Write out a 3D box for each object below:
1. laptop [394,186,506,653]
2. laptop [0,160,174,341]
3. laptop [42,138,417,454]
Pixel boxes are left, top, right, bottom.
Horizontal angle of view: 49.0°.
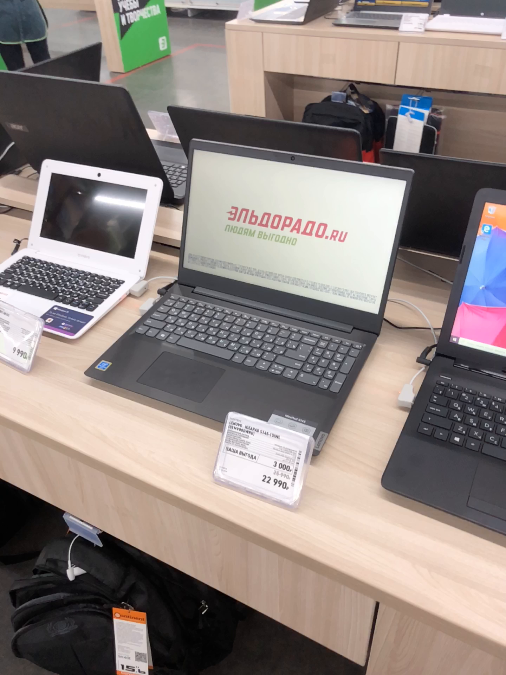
[{"bbox_3d":[0.388,0.033,0.573,0.374,0.206,0.322,16,43,24],"label":"laptop"},{"bbox_3d":[-0.342,-0.168,0.963,0.279,0.139,0.290,15,43,22],"label":"laptop"},{"bbox_3d":[-0.008,-0.090,0.771,0.355,0.212,0.342,16,43,22],"label":"laptop"}]
